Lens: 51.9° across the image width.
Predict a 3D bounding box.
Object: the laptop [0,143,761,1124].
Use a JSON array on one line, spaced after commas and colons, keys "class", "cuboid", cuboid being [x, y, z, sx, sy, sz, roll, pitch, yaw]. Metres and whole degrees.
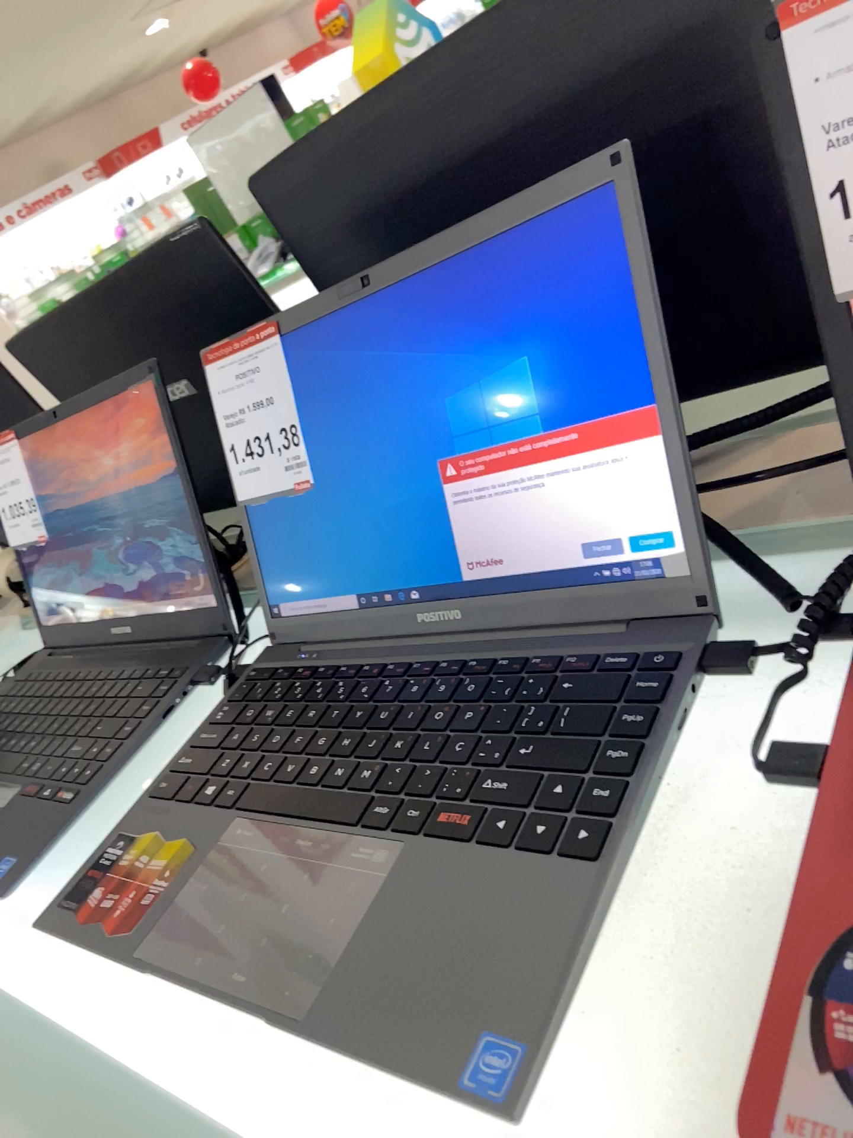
[{"class": "laptop", "cuboid": [-0.068, 0.007, 0.430, 0.330, 0.183, 0.320, -8, 35, 43]}]
